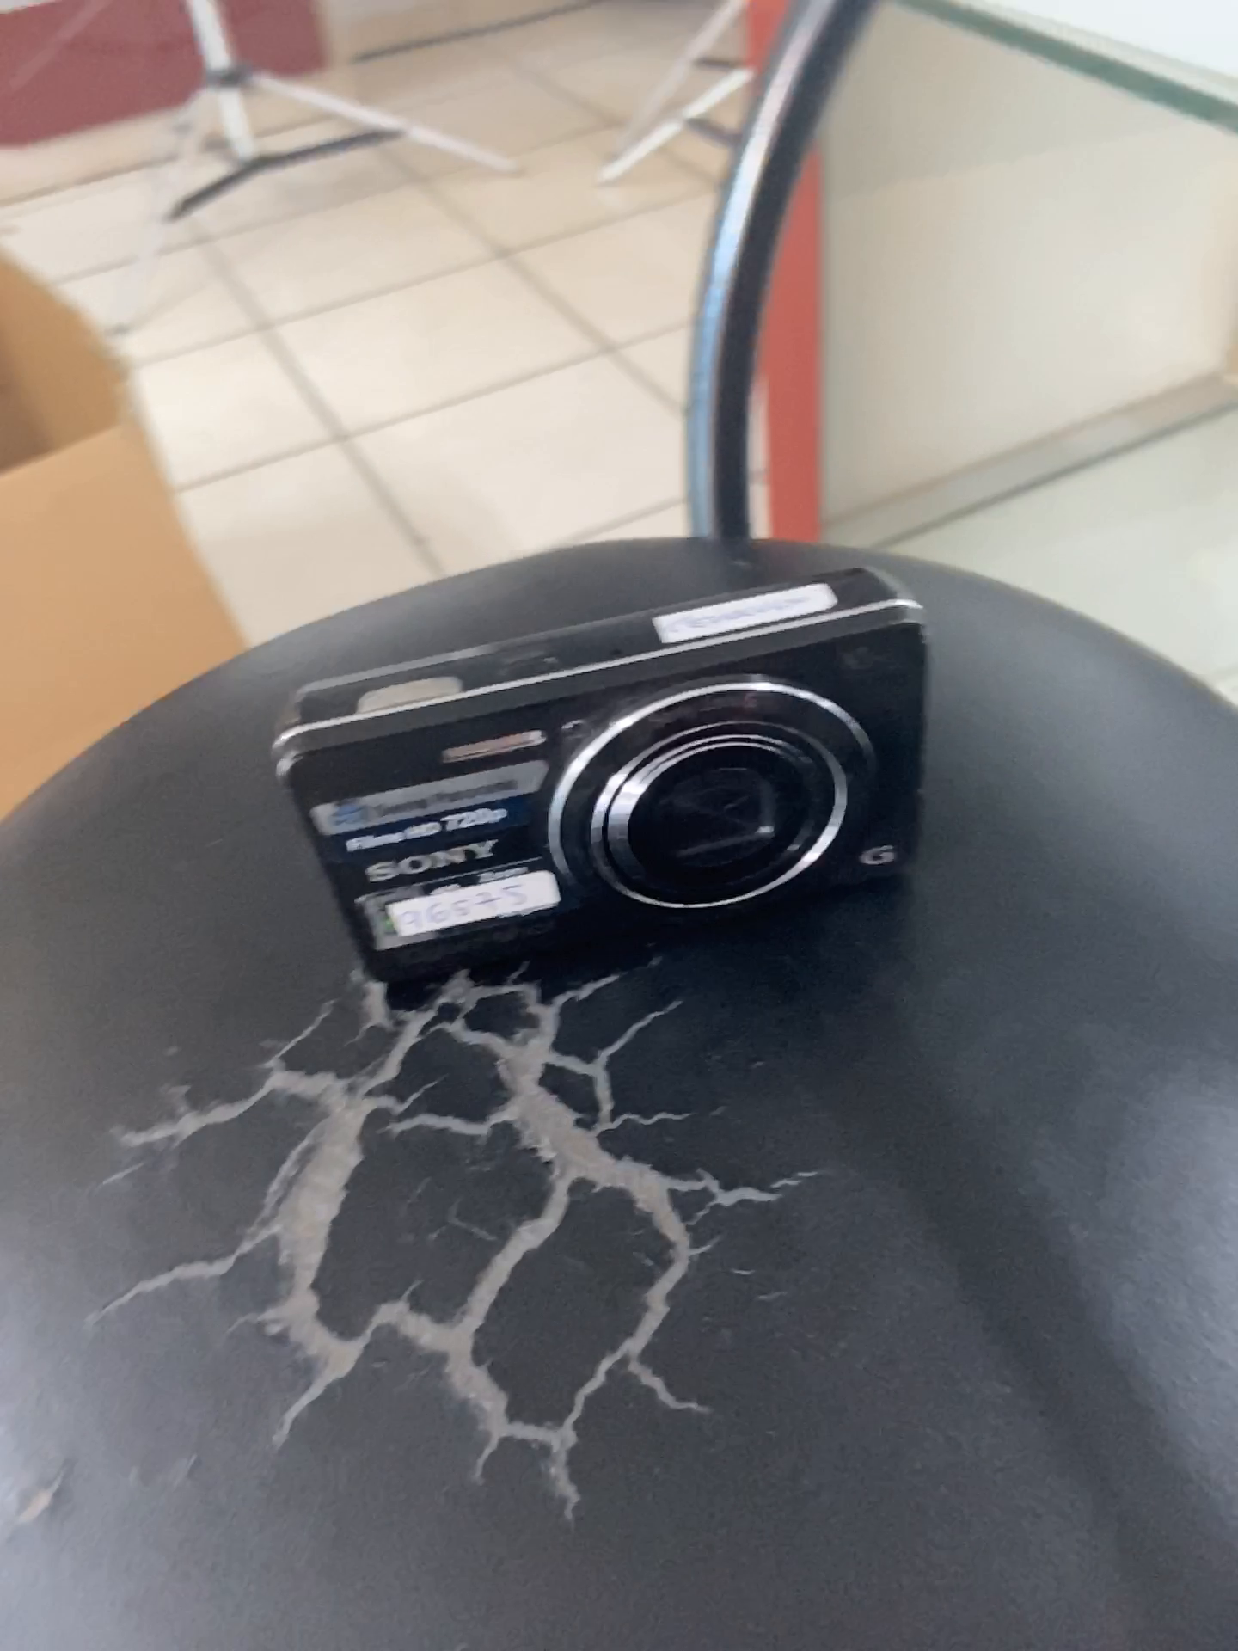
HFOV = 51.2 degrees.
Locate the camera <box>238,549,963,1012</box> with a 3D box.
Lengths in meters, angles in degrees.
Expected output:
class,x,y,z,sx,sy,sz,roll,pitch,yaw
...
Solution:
class,x,y,z,sx,sy,sz,roll,pitch,yaw
camera,-0.001,-0.005,0.195,0.096,0.051,0.024,-11,46,-2
